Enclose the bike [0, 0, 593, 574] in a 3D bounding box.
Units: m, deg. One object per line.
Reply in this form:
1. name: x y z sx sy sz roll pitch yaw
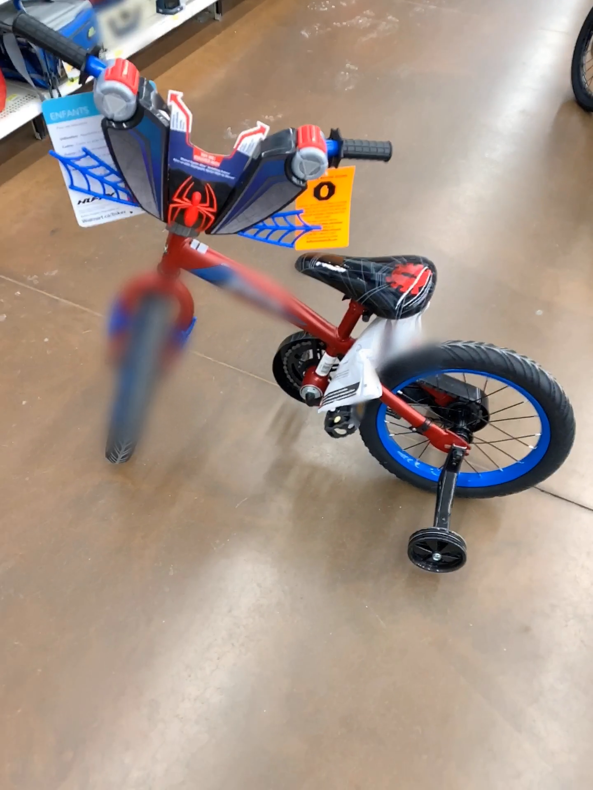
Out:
1. bike: 0.001 -0.118 0.850 0.565 0.709 0.477 4 50 2
